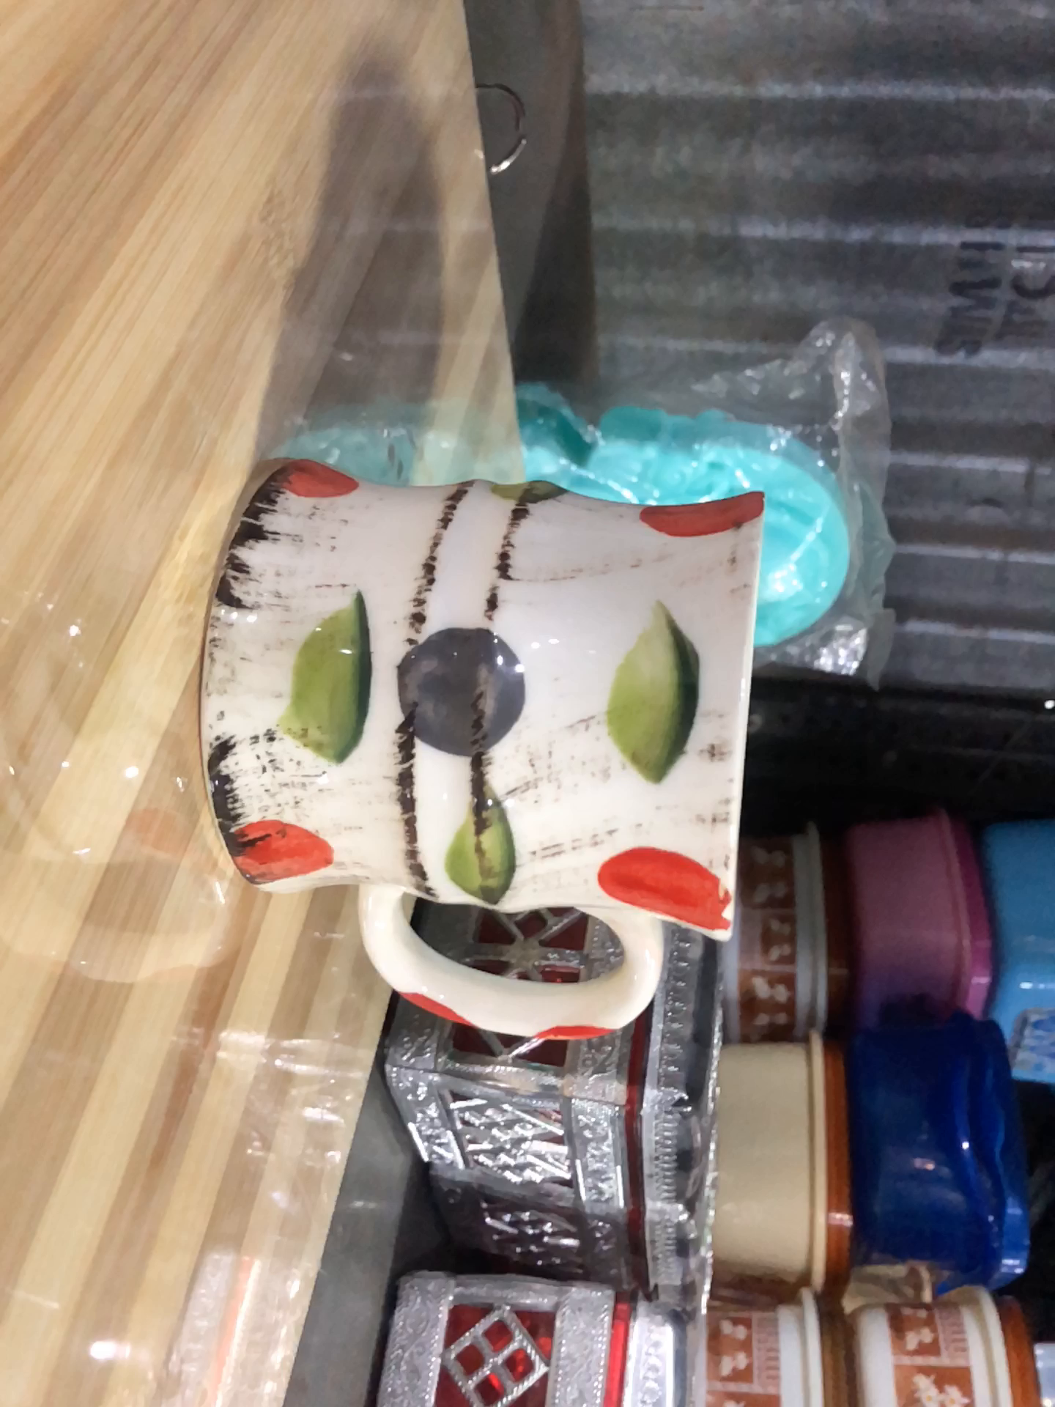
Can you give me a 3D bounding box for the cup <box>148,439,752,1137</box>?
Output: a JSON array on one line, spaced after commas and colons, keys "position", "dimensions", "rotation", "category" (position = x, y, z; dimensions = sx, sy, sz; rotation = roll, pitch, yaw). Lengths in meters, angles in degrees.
[{"position": [-0.004, 0.018, 0.215], "dimensions": [0.060, 0.080, 0.110], "rotation": [-76, 166, -48], "category": "cup"}]
